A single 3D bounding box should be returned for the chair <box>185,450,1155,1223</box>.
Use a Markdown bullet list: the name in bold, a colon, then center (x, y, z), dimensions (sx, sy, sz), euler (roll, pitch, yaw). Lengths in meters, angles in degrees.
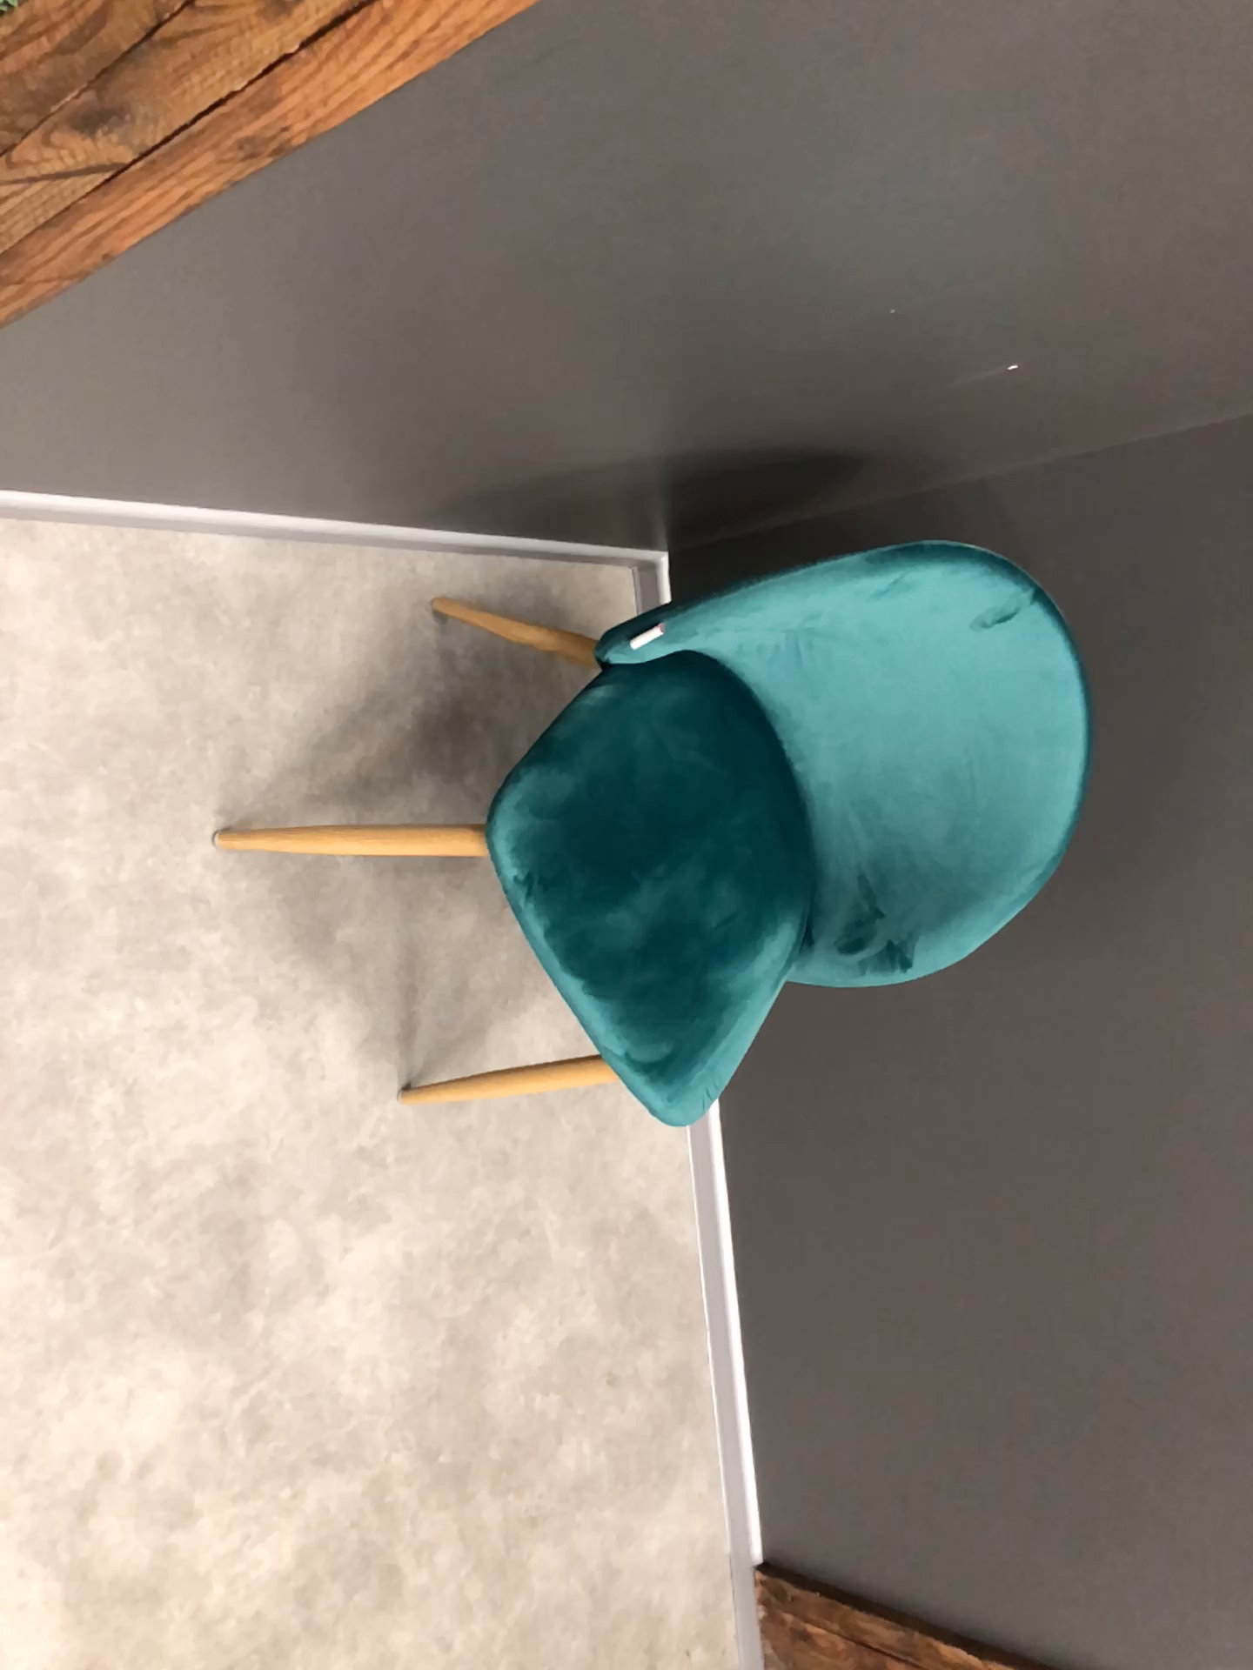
- **chair**: center (0.054, 0.007, 1.620), dimensions (0.542, 0.855, 0.541), euler (-51, 124, -38)
